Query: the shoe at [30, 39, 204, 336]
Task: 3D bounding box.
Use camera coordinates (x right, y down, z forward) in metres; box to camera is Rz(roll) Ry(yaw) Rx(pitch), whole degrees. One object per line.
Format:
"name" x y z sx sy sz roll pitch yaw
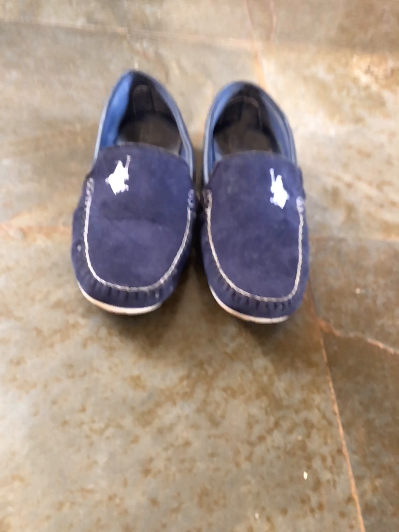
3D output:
"shoe" -0.053 -0.080 0.373 0.100 0.089 0.262 3 51 -5

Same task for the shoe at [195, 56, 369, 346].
"shoe" 0.050 -0.071 0.387 0.100 0.089 0.262 3 51 -5
